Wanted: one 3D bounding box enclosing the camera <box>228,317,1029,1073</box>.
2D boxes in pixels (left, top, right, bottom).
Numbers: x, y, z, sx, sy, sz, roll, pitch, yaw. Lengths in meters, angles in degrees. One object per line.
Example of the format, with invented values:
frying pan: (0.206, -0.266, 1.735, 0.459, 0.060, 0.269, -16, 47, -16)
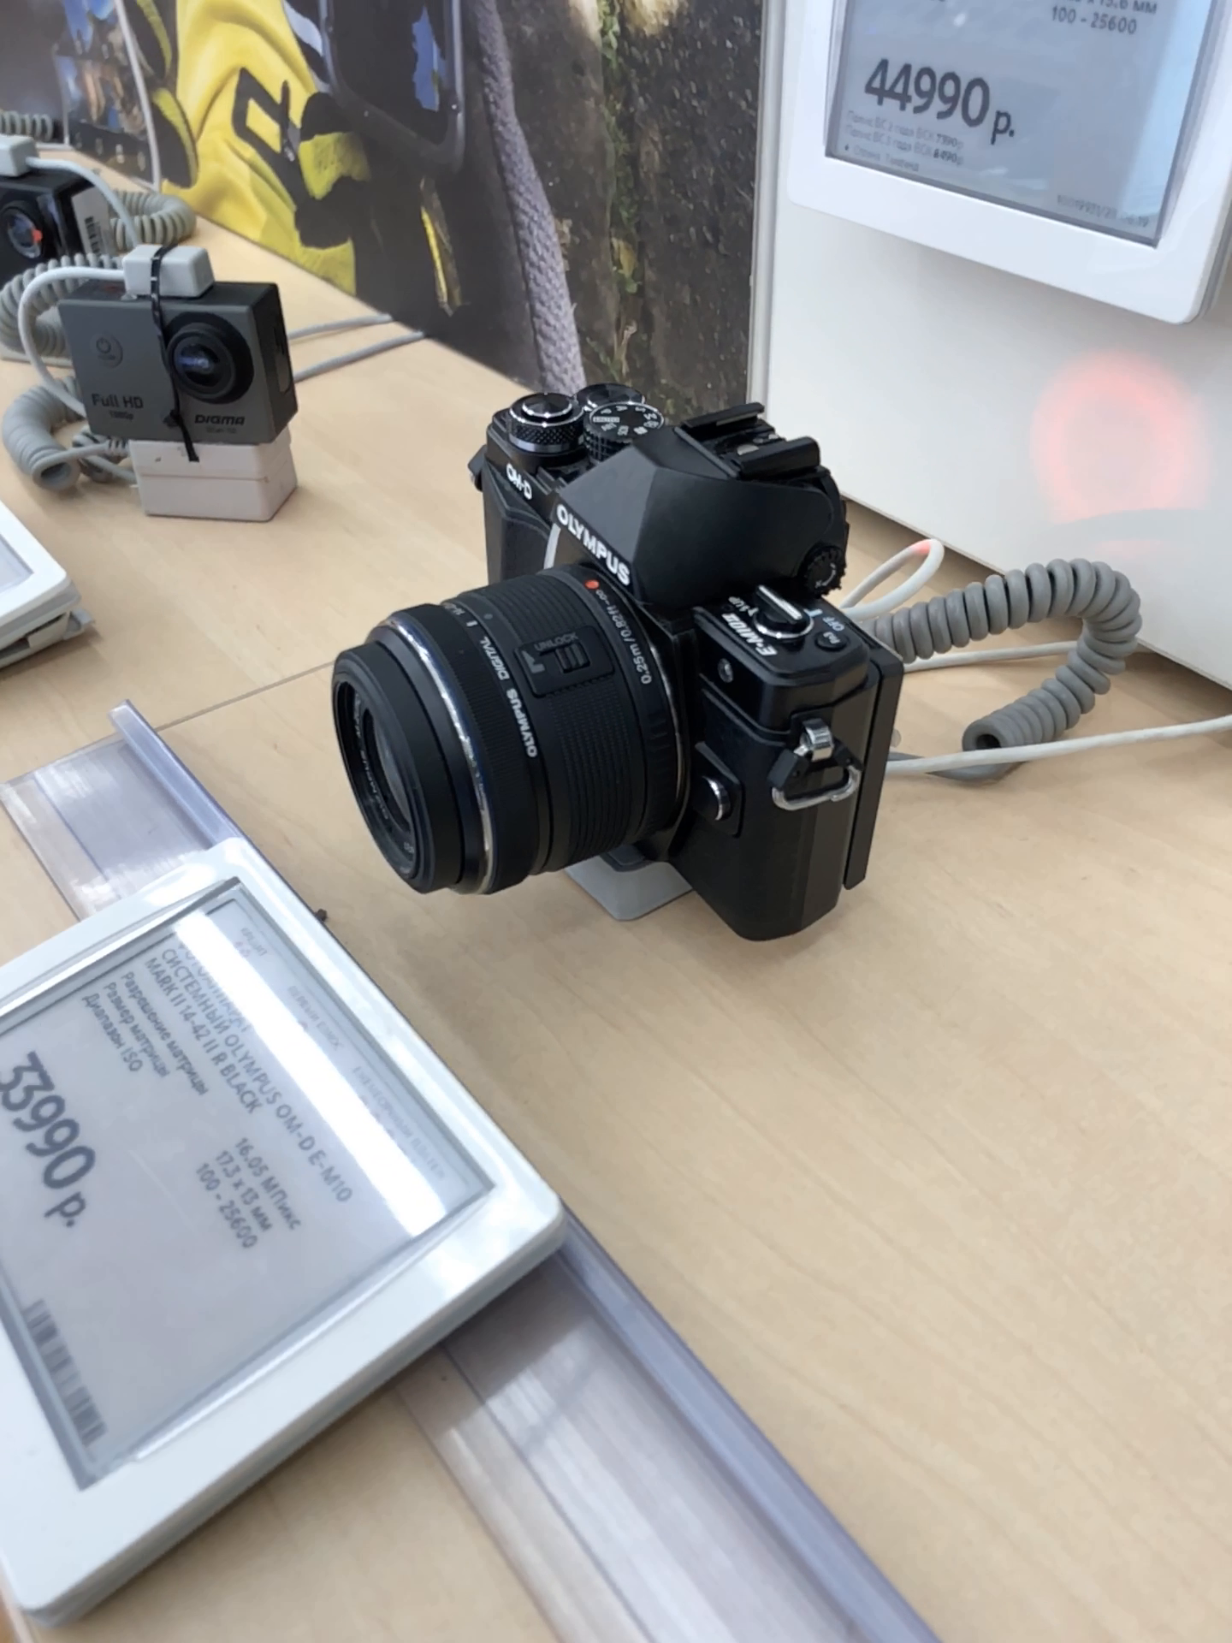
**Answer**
camera: (-0.003, -0.034, 0.268, 0.100, 0.079, 0.112, -21, 43, -23)
